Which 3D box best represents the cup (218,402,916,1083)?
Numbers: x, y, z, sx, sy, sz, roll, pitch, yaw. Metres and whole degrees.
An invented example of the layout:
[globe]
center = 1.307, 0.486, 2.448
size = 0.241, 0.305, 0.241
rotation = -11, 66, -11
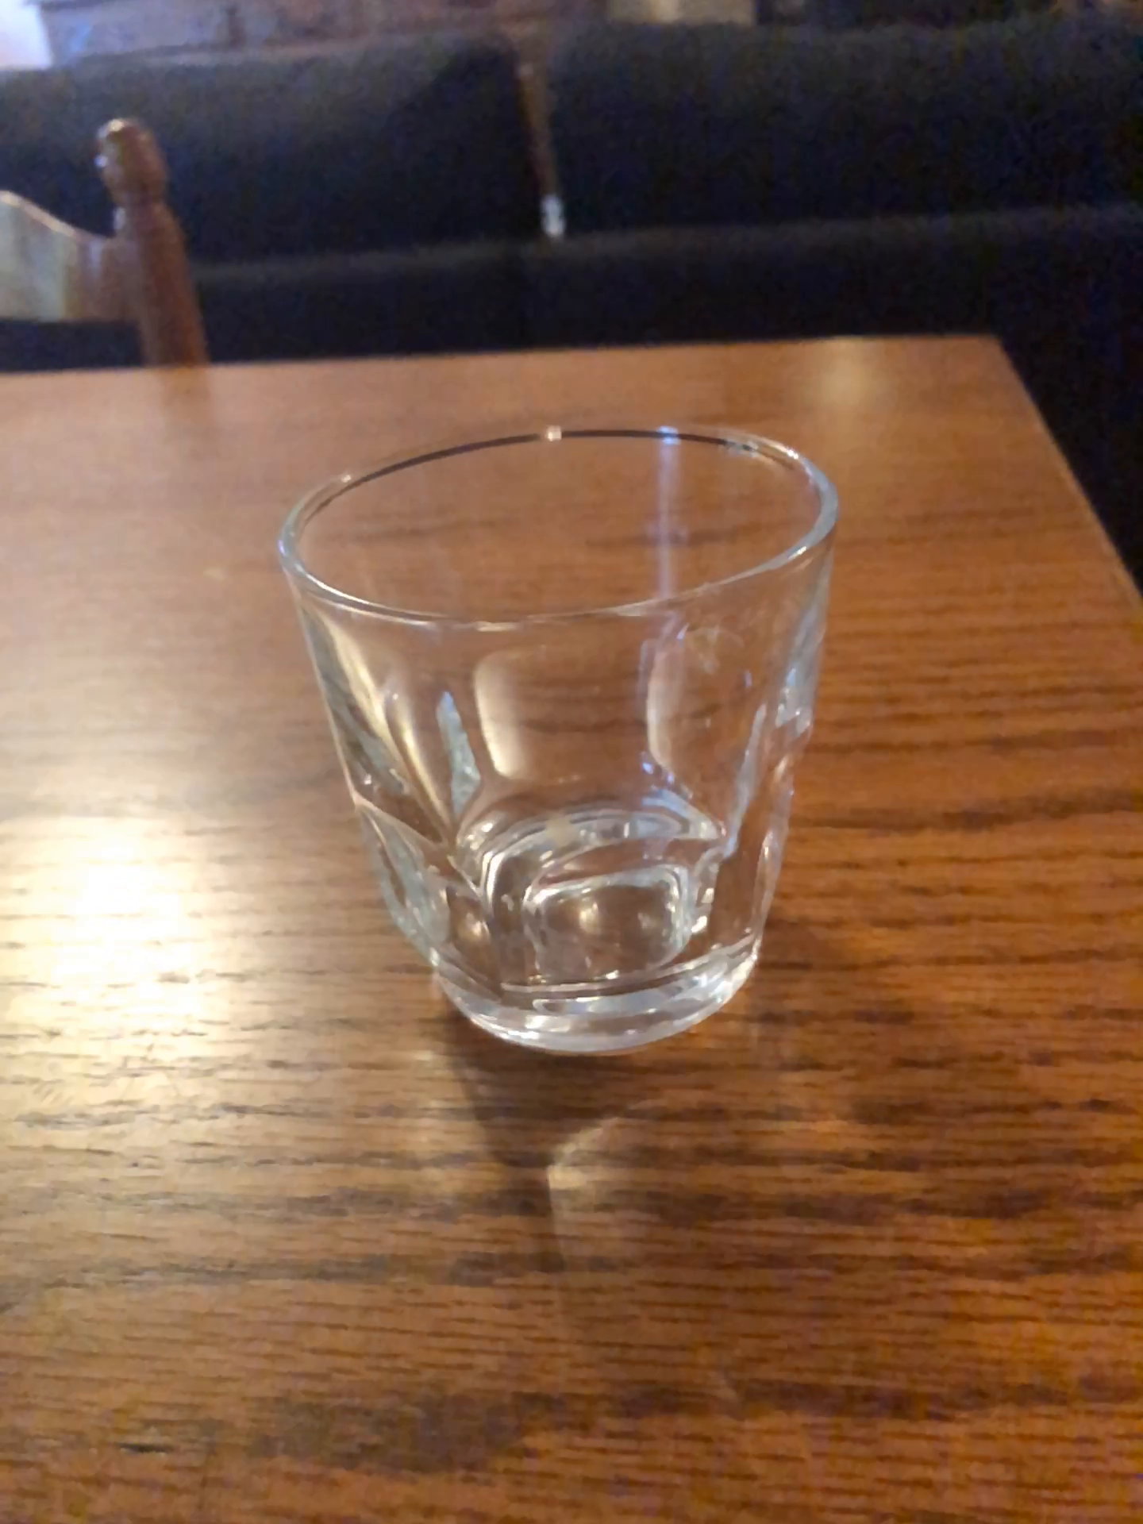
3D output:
[cup]
center = 0.001, -0.008, 0.204
size = 0.082, 0.069, 0.083
rotation = -4, 31, 2
